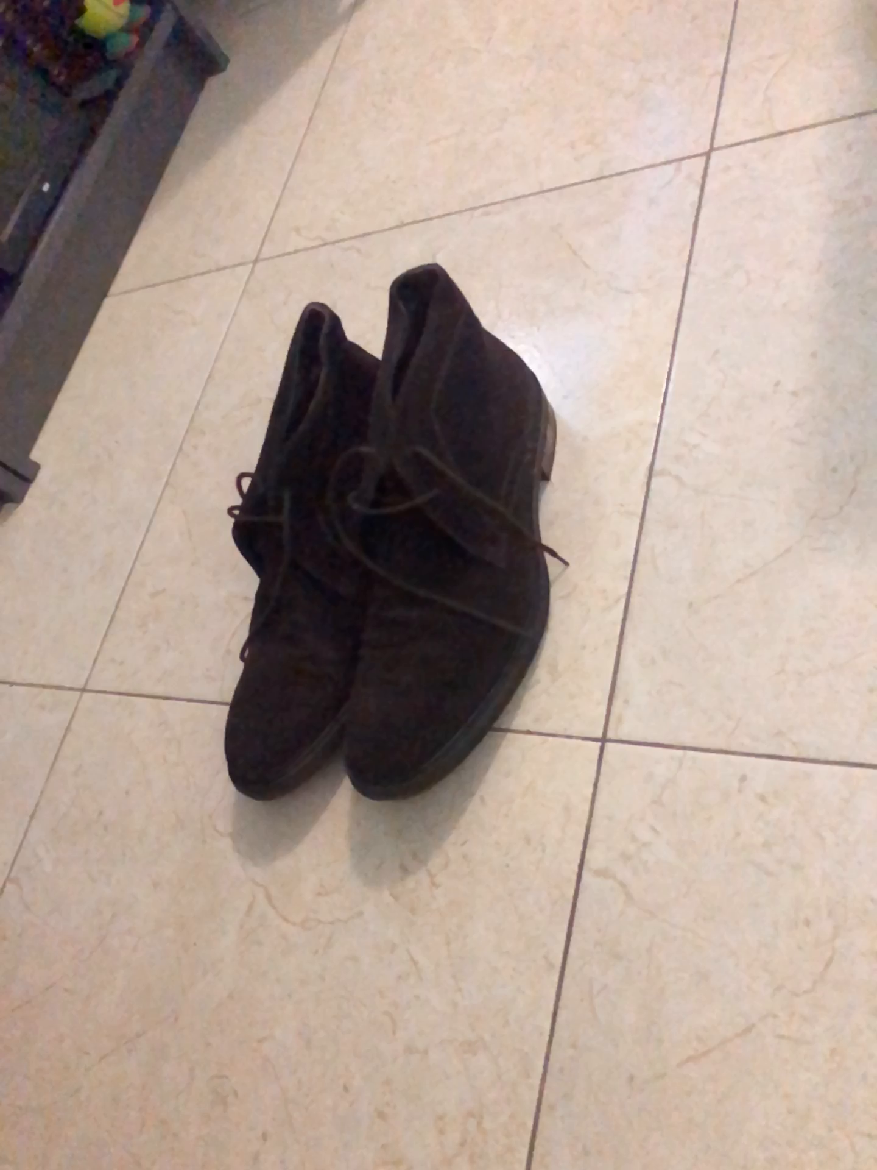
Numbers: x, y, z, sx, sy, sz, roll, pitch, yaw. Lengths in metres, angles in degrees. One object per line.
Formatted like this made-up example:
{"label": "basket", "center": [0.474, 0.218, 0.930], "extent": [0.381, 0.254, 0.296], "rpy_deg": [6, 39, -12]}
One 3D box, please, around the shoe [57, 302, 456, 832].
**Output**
{"label": "shoe", "center": [-0.103, -0.014, 0.627], "extent": [0.110, 0.129, 0.300], "rpy_deg": [1, 64, 33]}

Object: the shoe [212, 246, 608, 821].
{"label": "shoe", "center": [-0.002, -0.031, 0.588], "extent": [0.110, 0.139, 0.300], "rpy_deg": [1, 64, 33]}
